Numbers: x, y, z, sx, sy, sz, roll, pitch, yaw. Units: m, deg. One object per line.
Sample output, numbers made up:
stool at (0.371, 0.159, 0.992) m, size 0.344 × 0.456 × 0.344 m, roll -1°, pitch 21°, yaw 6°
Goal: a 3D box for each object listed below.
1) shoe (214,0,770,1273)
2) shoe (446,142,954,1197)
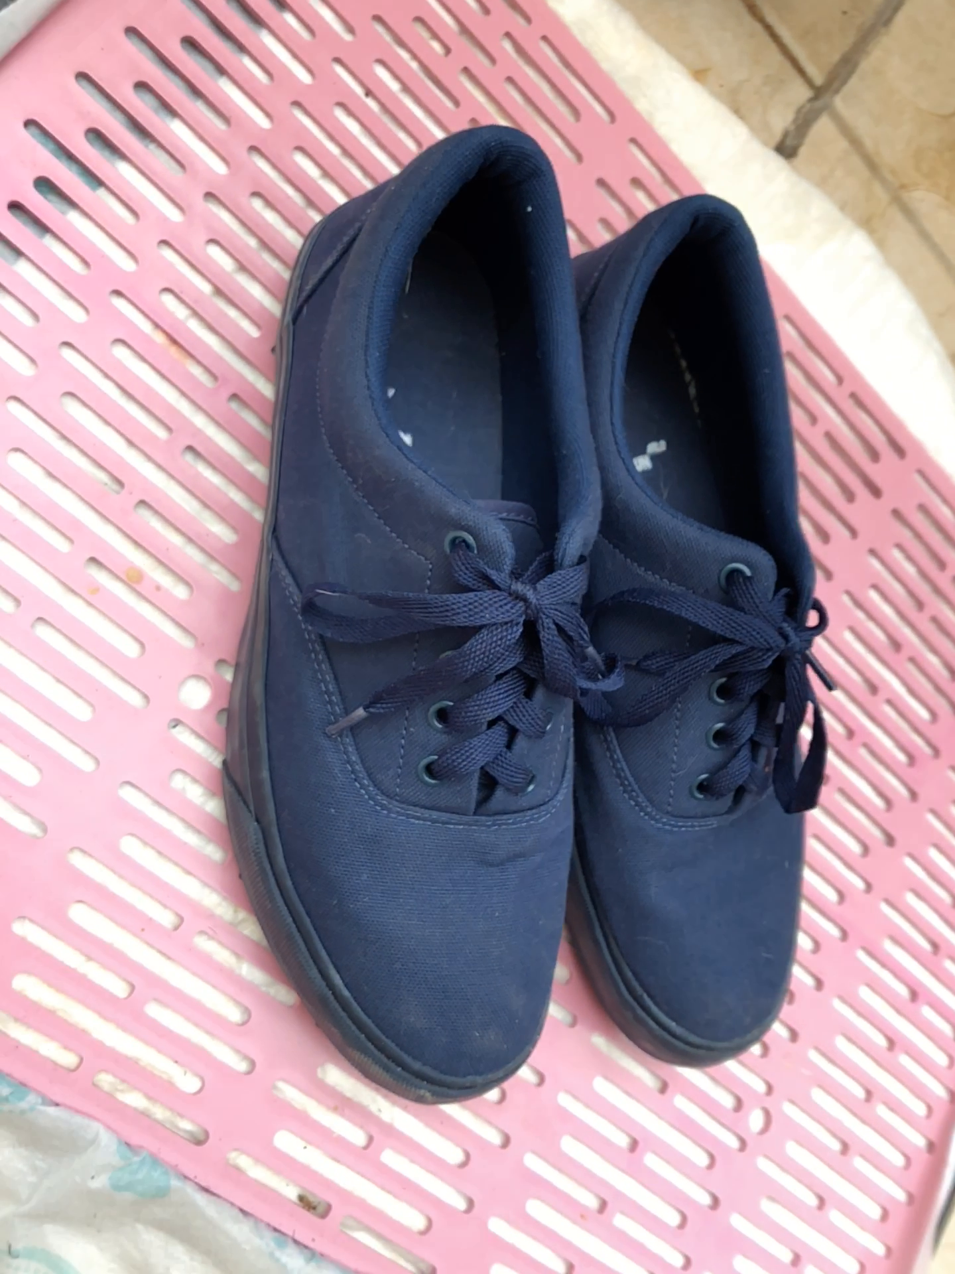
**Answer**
shoe at (-0.003, -0.003, 0.290) m, size 0.108 × 0.100 × 0.270 m, roll -1°, pitch 87°, yaw -27°
shoe at (0.078, 0.005, 0.338) m, size 0.108 × 0.100 × 0.270 m, roll -8°, pitch 90°, yaw -27°
